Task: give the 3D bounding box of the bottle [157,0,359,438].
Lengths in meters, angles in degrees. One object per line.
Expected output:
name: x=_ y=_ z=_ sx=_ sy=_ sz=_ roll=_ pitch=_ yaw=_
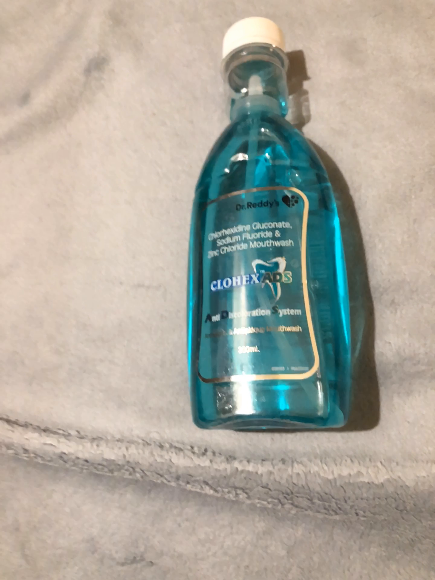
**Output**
bottle: x=0.014 y=-0.045 z=0.219 sx=0.070 sy=0.040 sz=0.210 roll=-7 pitch=73 yaw=17
